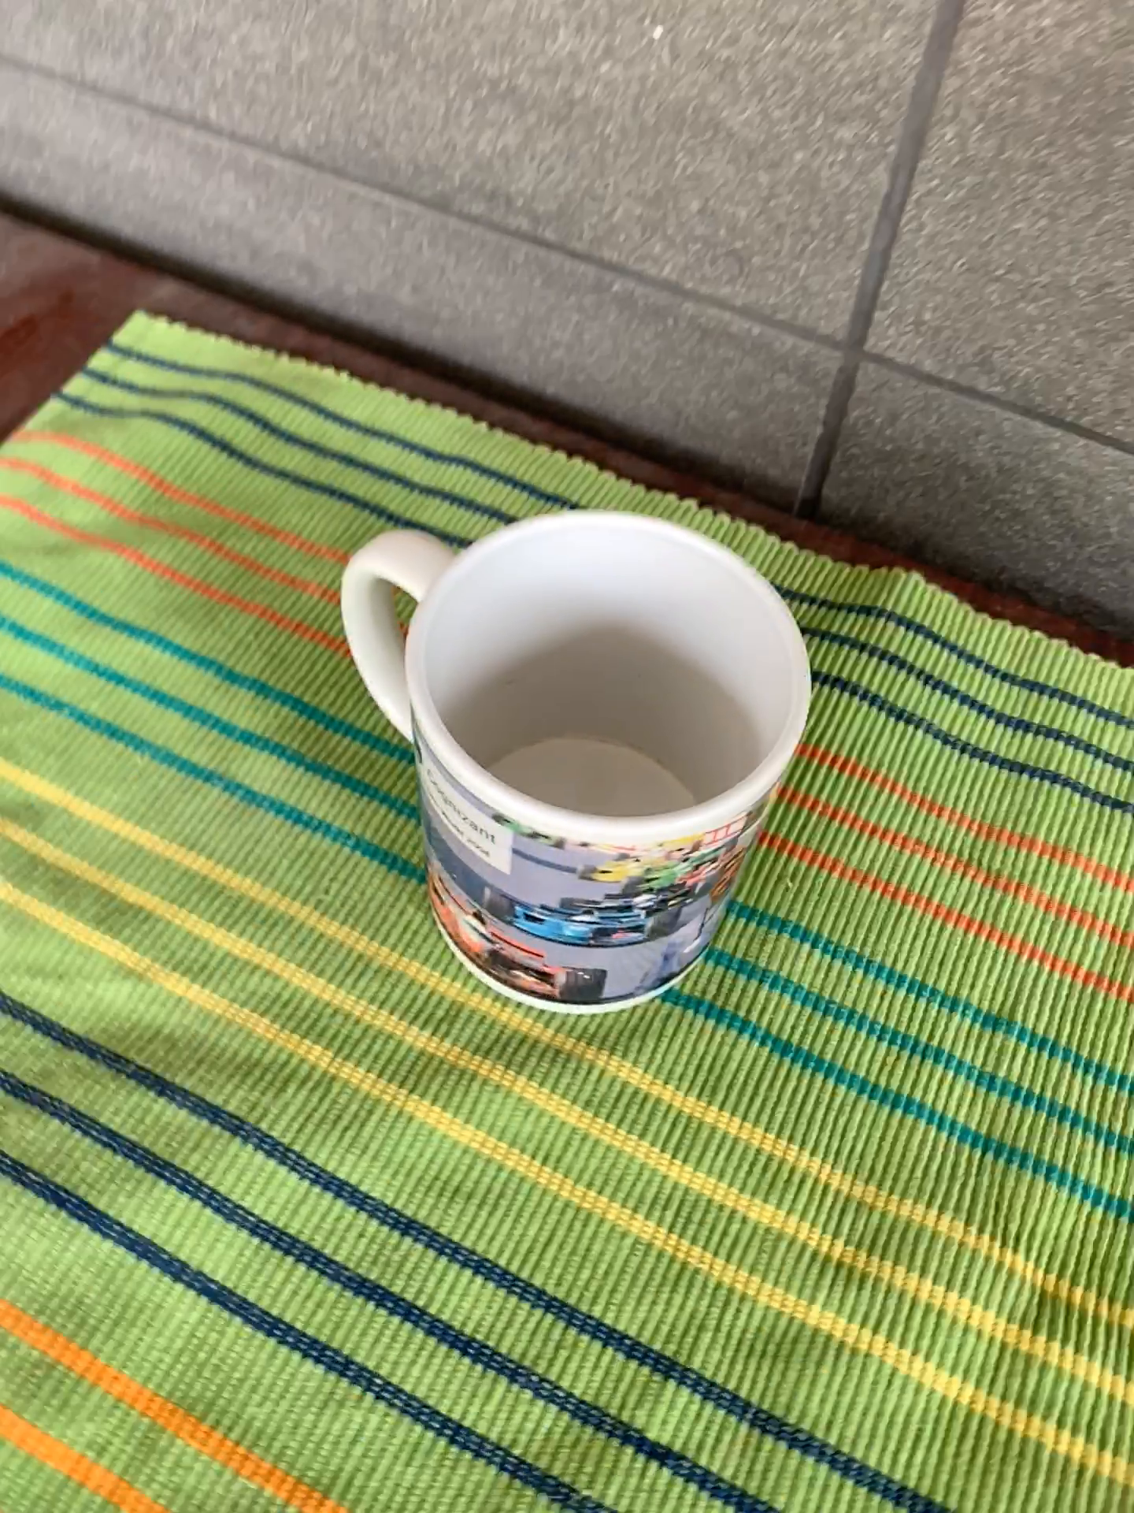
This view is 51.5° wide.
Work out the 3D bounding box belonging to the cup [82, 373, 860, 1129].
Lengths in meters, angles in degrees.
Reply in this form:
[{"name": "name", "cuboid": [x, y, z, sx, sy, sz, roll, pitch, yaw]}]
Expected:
[{"name": "cup", "cuboid": [-0.022, 0.000, 0.272, 0.130, 0.100, 0.080, 33, 60, 15]}]
